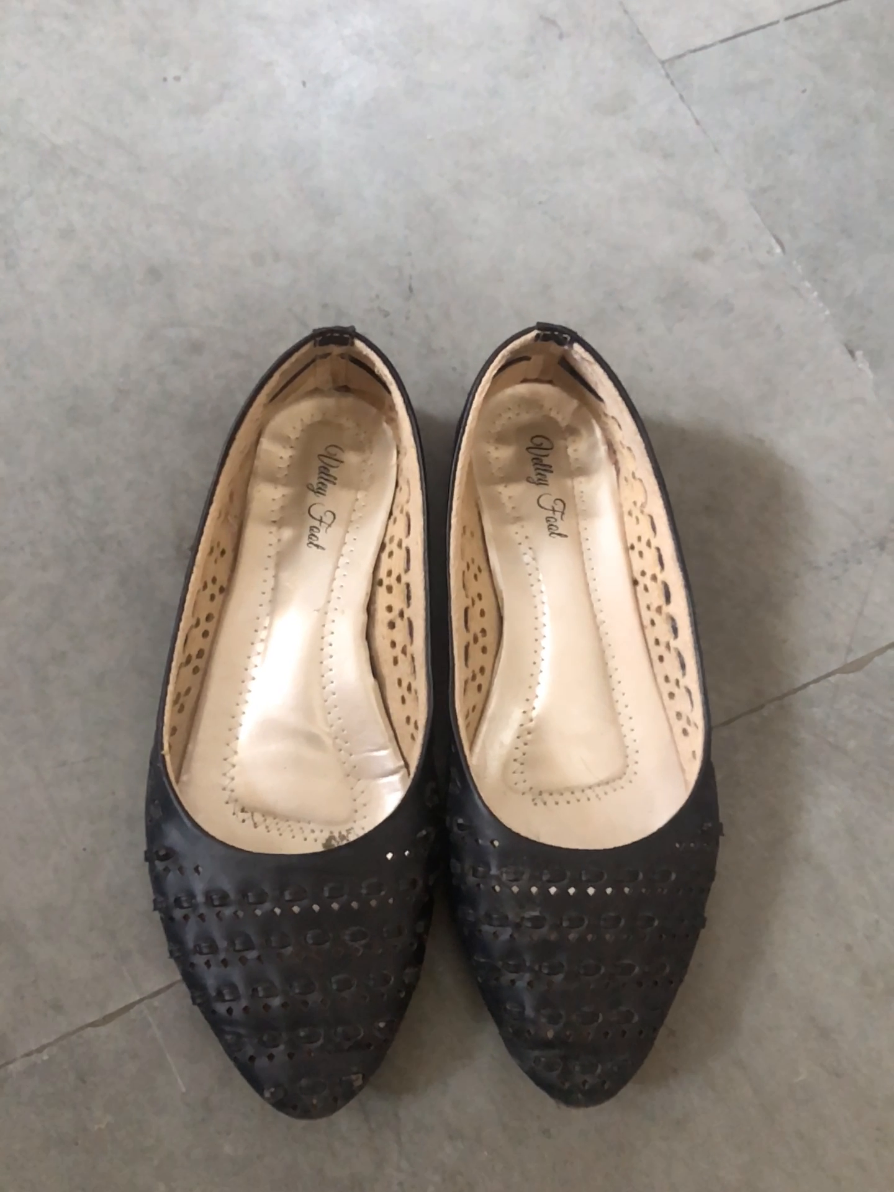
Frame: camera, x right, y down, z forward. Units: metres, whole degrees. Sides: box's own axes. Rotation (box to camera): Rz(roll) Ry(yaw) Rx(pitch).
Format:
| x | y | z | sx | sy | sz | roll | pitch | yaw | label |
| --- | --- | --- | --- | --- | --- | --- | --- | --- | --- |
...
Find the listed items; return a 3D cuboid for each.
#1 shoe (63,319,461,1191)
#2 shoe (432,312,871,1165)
| x | y | z | sx | sy | sz | roll | pitch | yaw | label |
| --- | --- | --- | --- | --- | --- | --- | --- | --- | --- |
| -0.047 | 0.038 | 0.309 | 0.095 | 0.062 | 0.242 | 1 | 72 | -3 | shoe |
| 0.051 | 0.035 | 0.322 | 0.095 | 0.073 | 0.242 | -2 | 72 | -4 | shoe |
